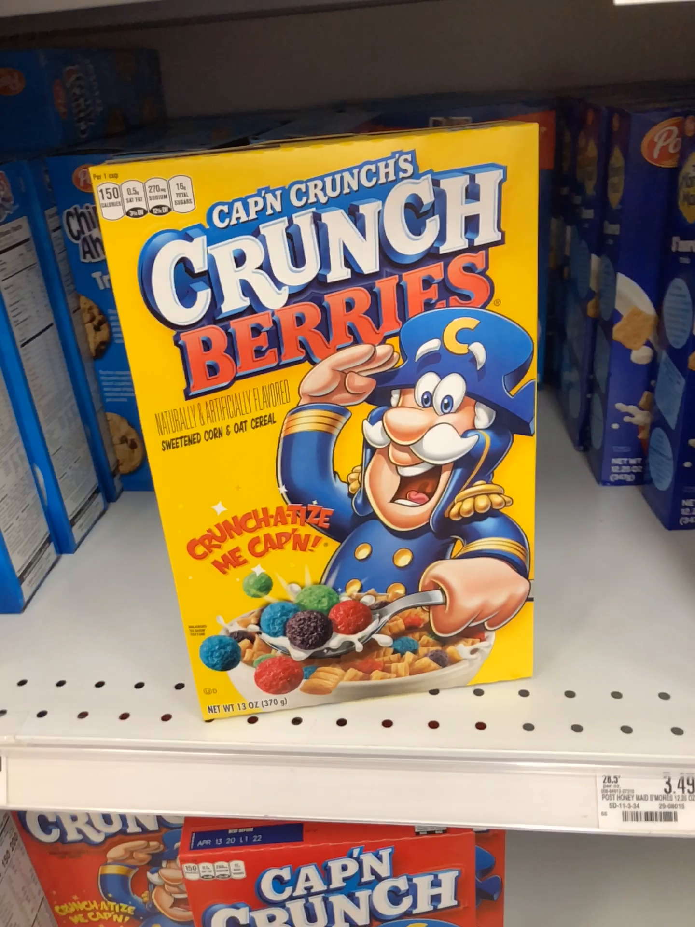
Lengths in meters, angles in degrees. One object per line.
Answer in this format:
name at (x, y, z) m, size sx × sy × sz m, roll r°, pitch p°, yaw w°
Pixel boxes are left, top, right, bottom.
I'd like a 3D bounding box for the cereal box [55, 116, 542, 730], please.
cereal box at (-0.008, -0.011, 0.398) m, size 0.200 × 0.289 × 0.060 m, roll -7°, pitch 22°, yaw -2°
